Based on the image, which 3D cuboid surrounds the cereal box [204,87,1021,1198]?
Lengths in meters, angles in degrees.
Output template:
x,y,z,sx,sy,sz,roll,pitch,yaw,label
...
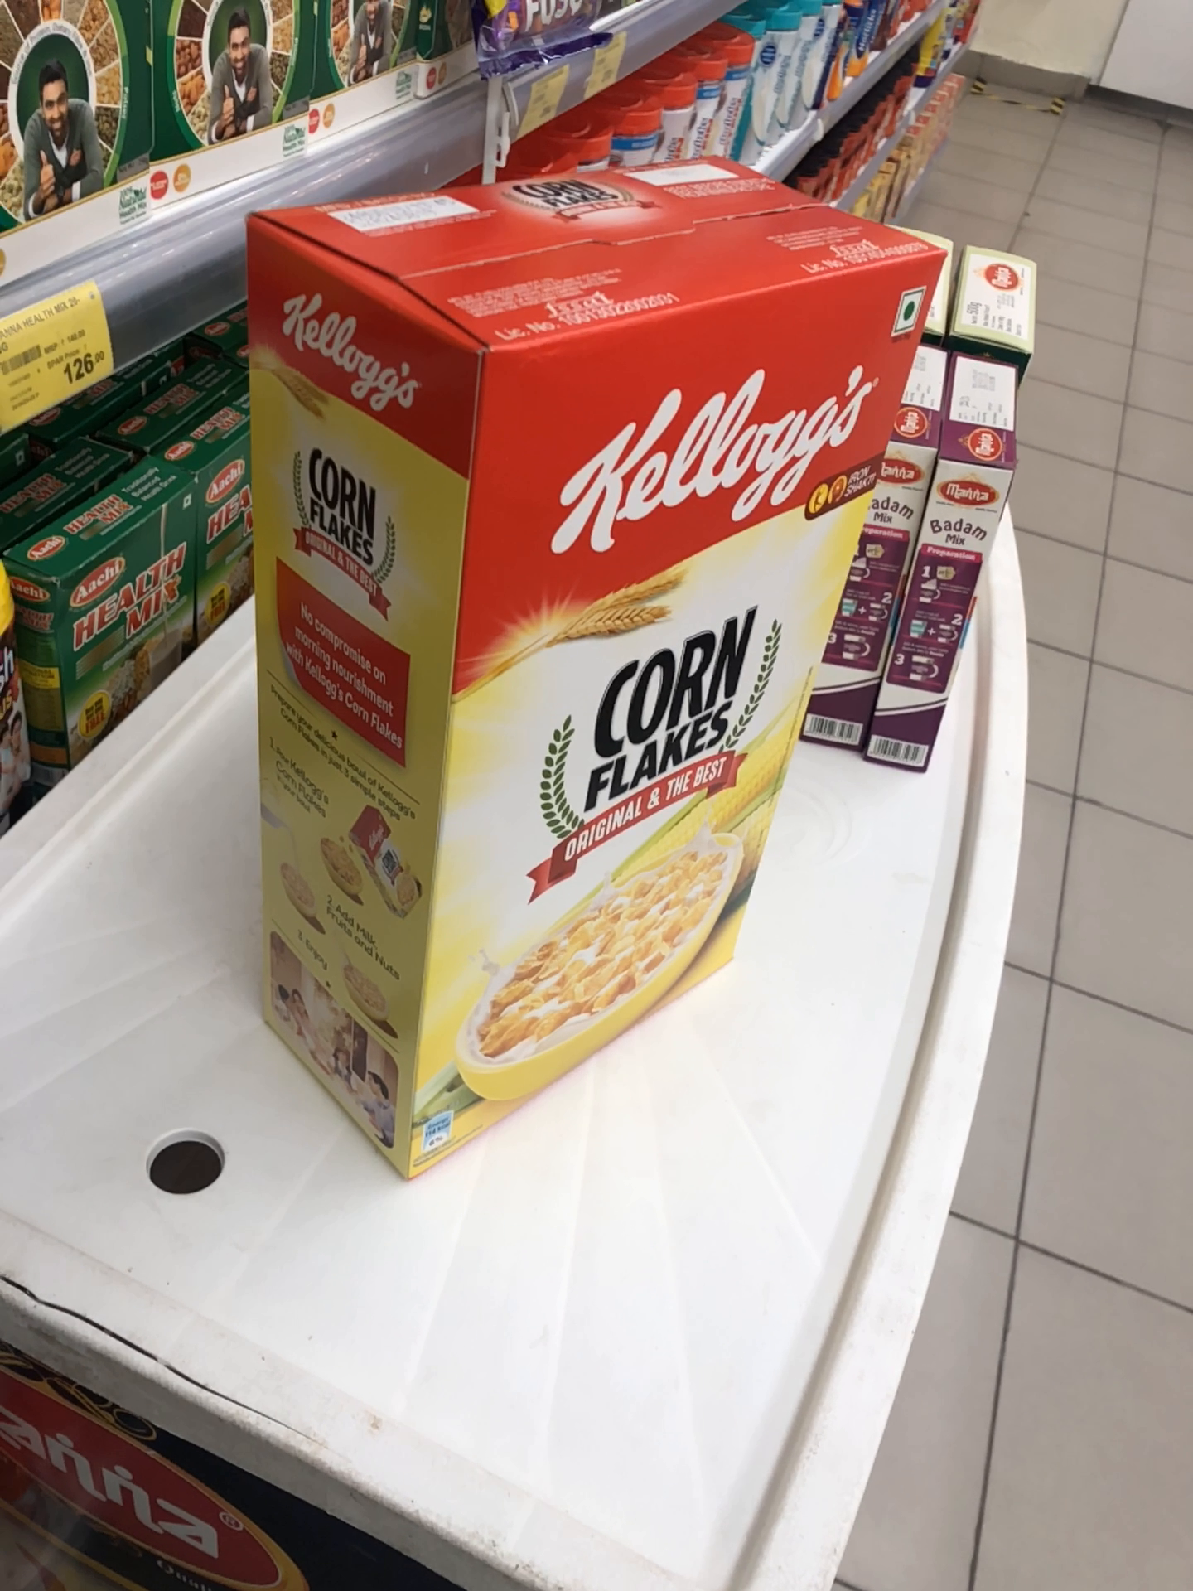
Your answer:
x,y,z,sx,sy,sz,roll,pitch,yaw,label
-0.010,-0.044,0.459,0.200,0.329,0.110,-27,53,-36,cereal box
